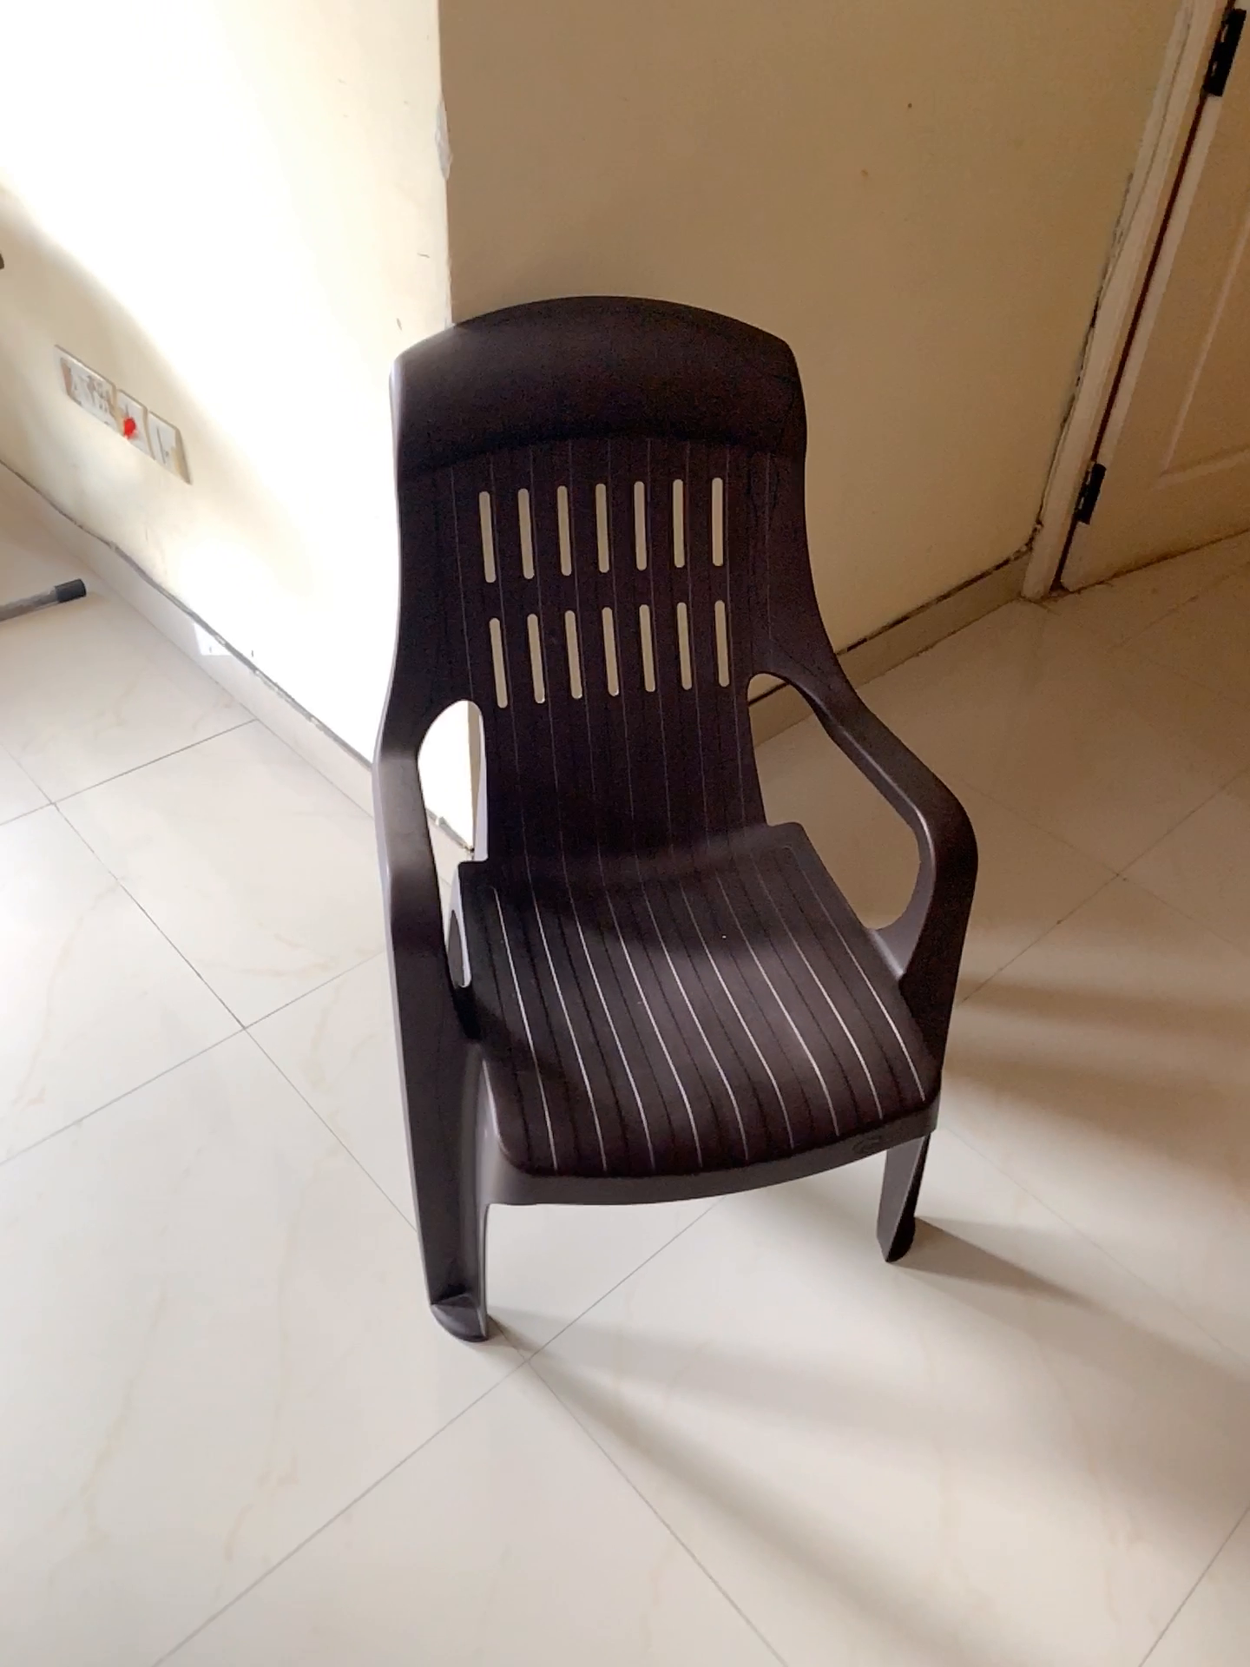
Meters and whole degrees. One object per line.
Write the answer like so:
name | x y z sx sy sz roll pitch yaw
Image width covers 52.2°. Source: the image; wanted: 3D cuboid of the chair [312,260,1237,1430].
chair | 0.031 0.028 1.385 0.600 1.031 0.666 -6 41 -10
